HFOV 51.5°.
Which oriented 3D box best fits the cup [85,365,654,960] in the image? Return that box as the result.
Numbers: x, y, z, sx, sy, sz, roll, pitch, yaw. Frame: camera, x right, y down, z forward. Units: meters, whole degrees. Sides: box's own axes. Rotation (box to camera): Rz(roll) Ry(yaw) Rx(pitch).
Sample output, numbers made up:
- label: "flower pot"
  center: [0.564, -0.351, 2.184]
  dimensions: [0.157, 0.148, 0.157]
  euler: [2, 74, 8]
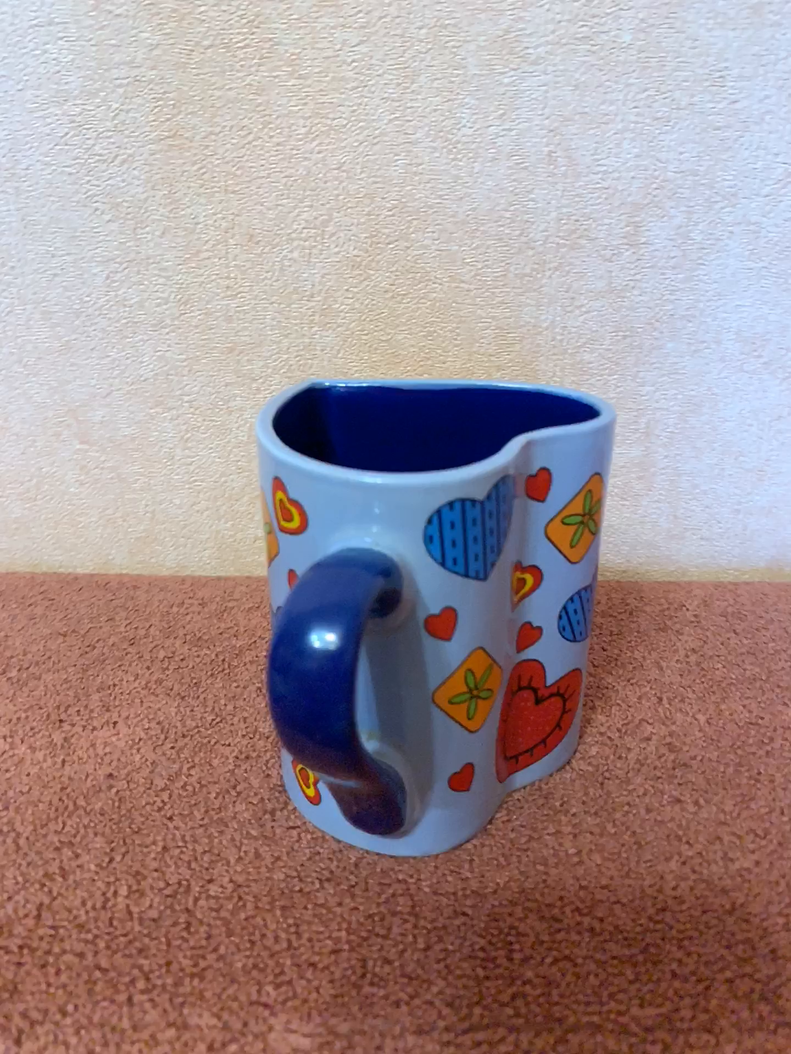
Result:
- label: "cup"
  center: [0.001, 0.020, 0.187]
  dimensions: [0.088, 0.090, 0.098]
  euler: [2, 25, 7]
